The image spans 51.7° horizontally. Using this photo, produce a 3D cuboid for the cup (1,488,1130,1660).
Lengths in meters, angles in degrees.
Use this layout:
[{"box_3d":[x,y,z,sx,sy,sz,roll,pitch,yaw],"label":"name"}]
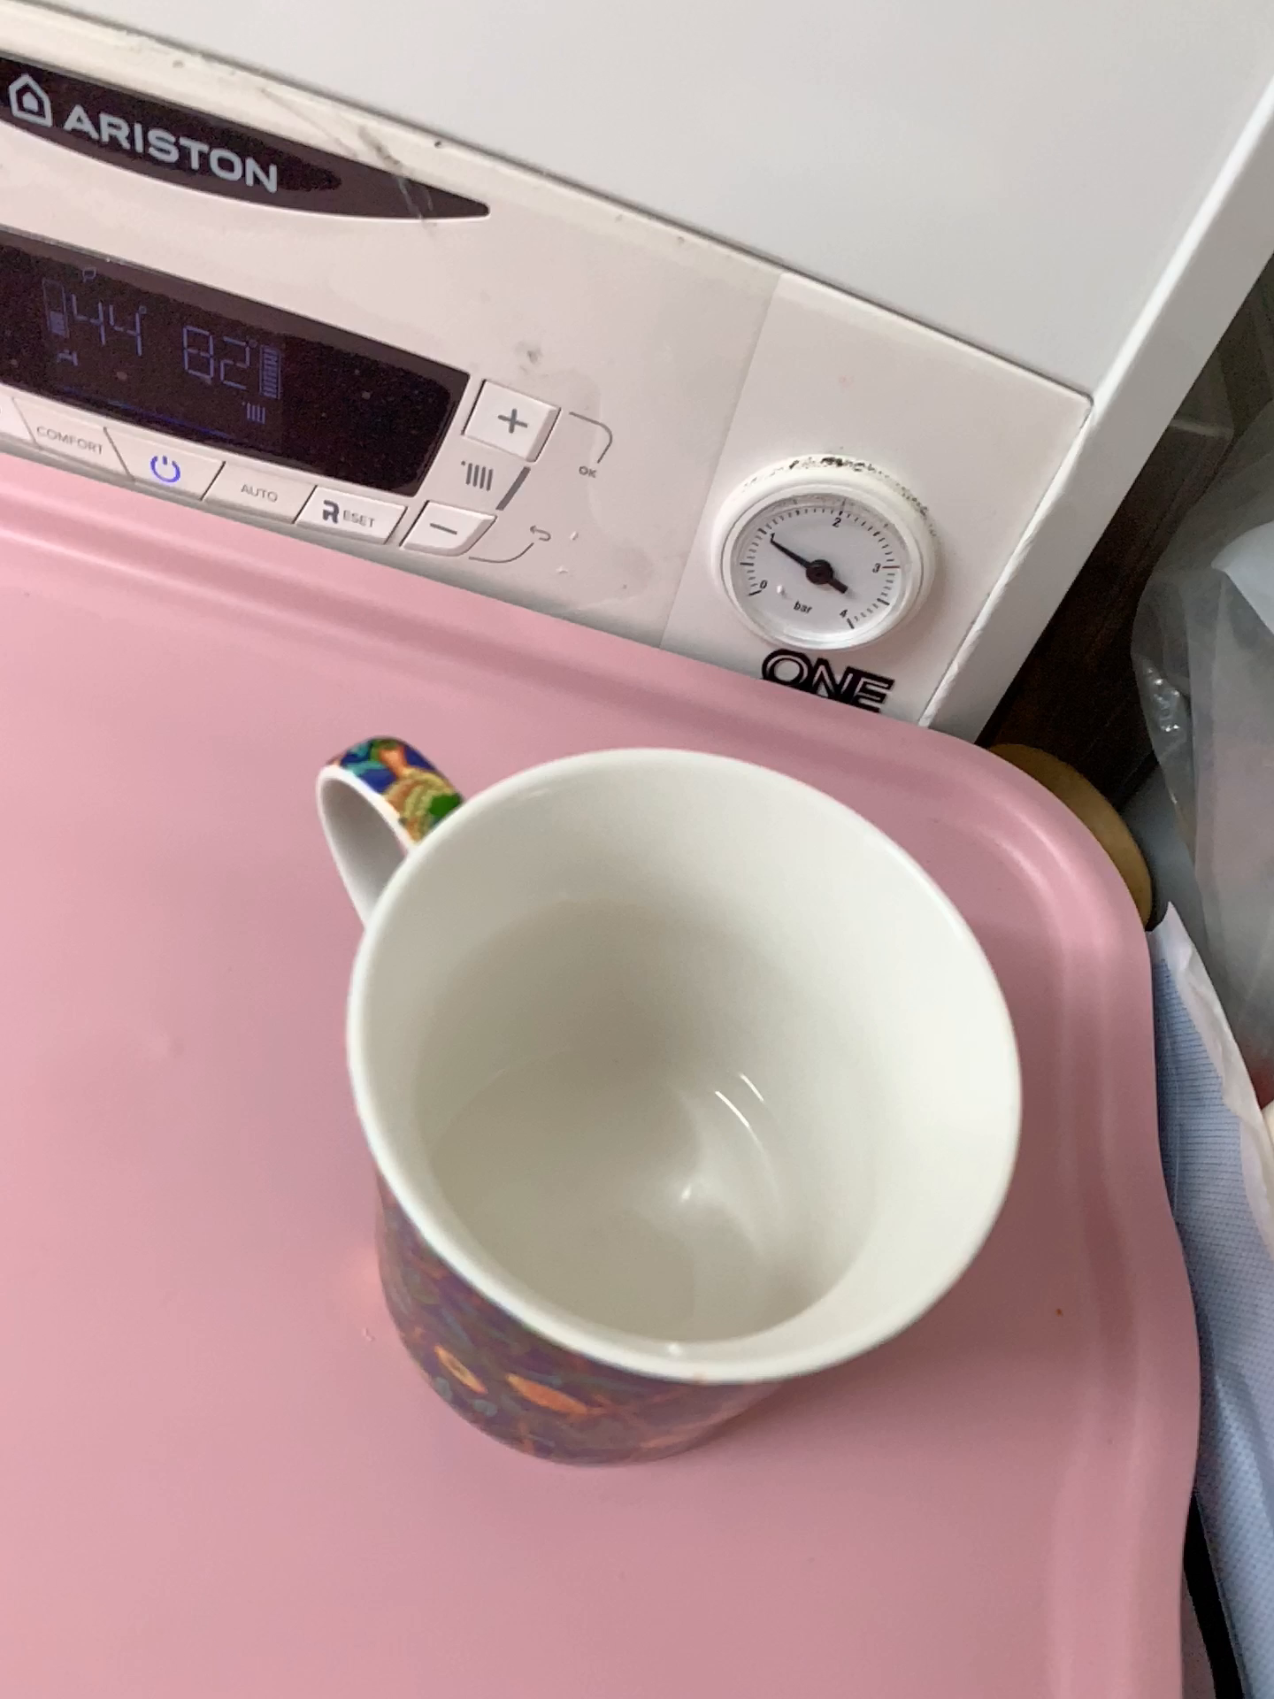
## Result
[{"box_3d":[-0.017,0.026,0.188,0.080,0.079,0.120,-29,65,-32],"label":"cup"}]
